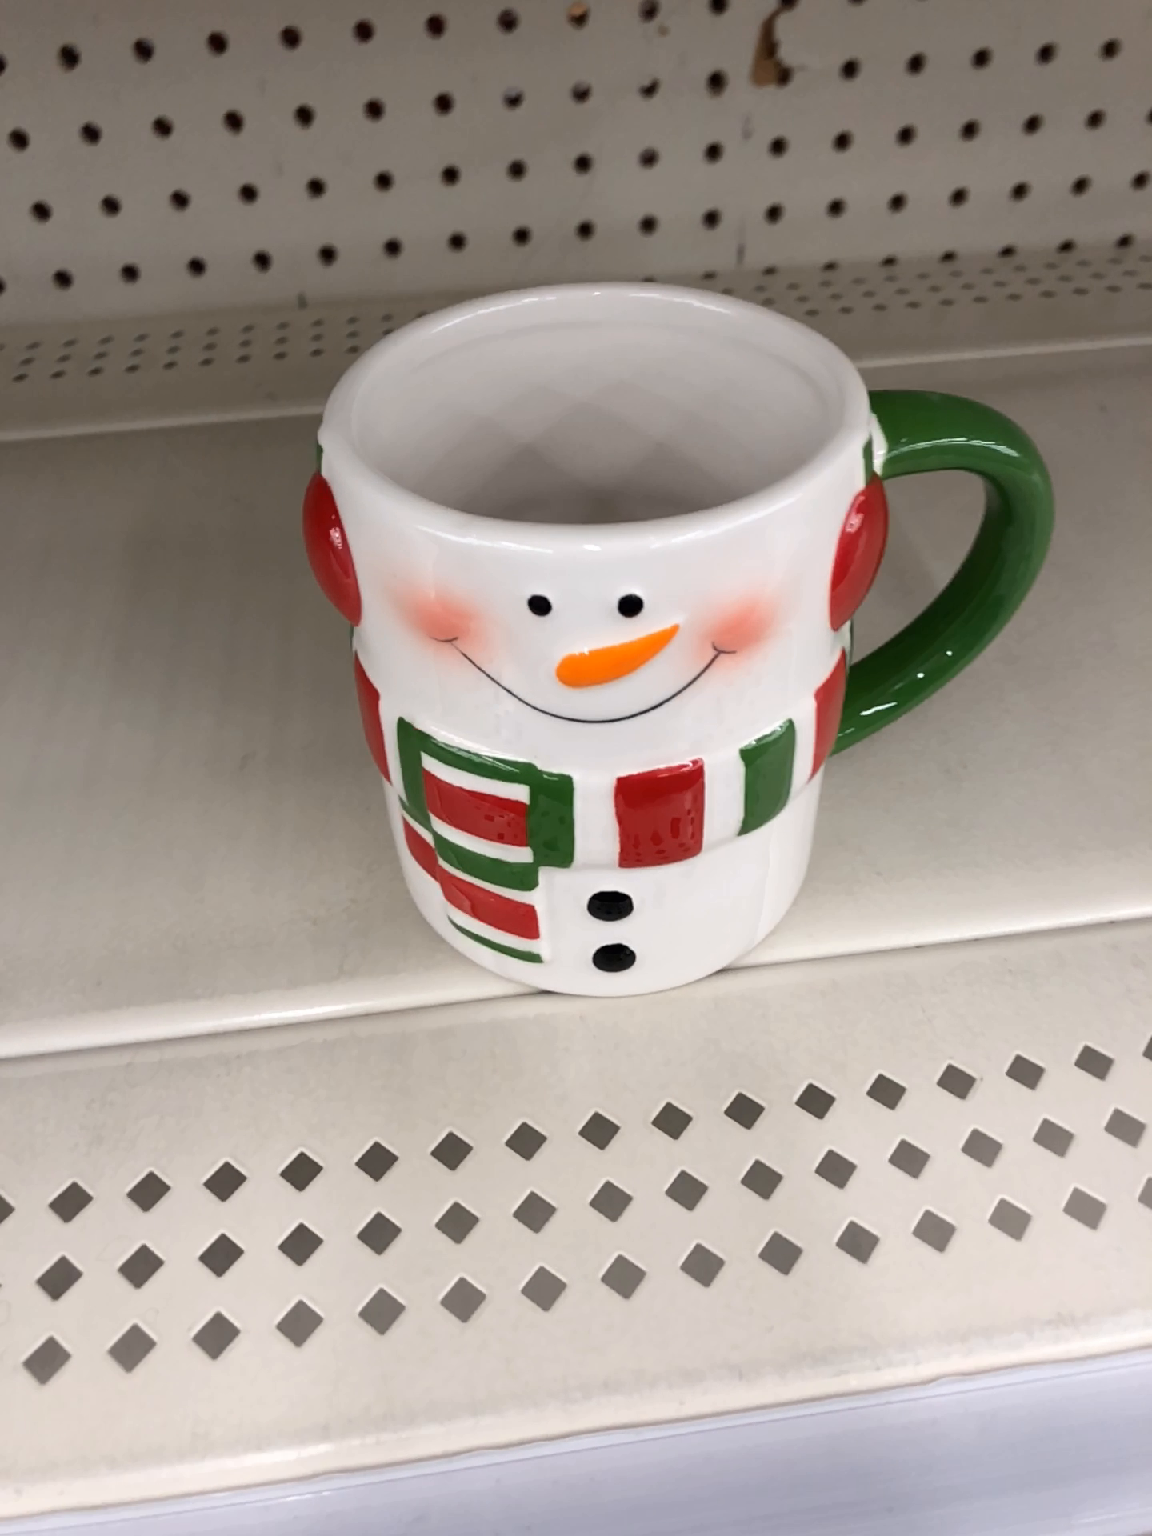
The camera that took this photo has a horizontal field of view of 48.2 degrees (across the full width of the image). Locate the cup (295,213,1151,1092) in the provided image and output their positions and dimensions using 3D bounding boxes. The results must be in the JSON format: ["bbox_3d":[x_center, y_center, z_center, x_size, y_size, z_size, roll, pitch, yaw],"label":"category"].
[{"bbox_3d":[0.026,-0.022,0.235,0.130,0.110,0.090,-9,44,-7],"label":"cup"}]
